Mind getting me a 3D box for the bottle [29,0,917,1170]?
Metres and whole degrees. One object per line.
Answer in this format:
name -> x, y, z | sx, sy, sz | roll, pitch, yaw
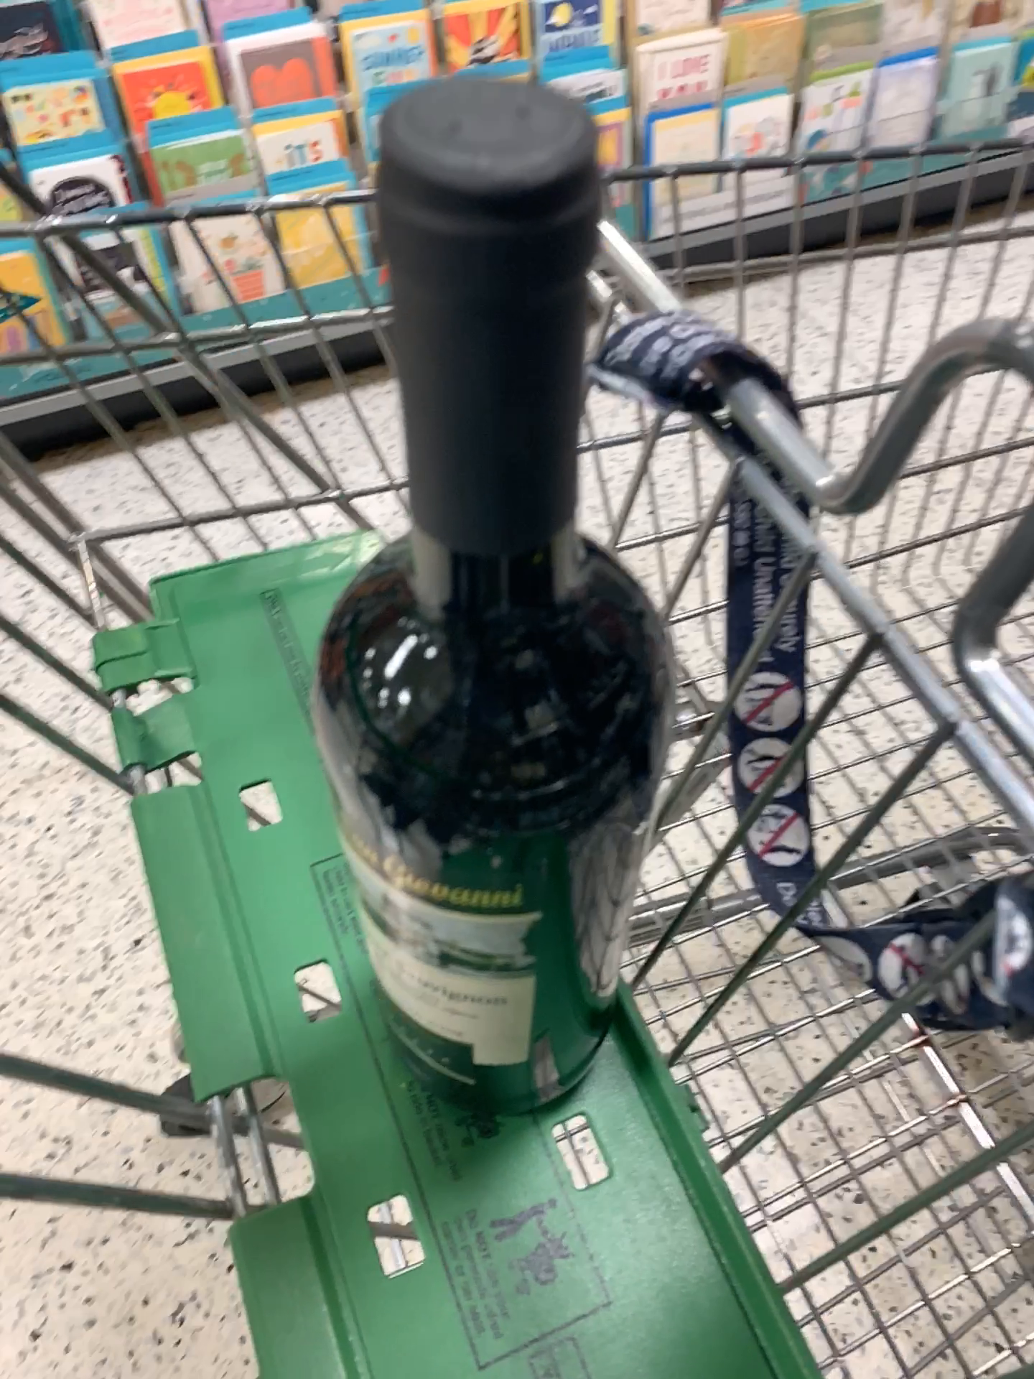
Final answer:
bottle -> -0.007, 0.014, 0.240 | 0.080, 0.277, 0.075 | 1, 52, -1
